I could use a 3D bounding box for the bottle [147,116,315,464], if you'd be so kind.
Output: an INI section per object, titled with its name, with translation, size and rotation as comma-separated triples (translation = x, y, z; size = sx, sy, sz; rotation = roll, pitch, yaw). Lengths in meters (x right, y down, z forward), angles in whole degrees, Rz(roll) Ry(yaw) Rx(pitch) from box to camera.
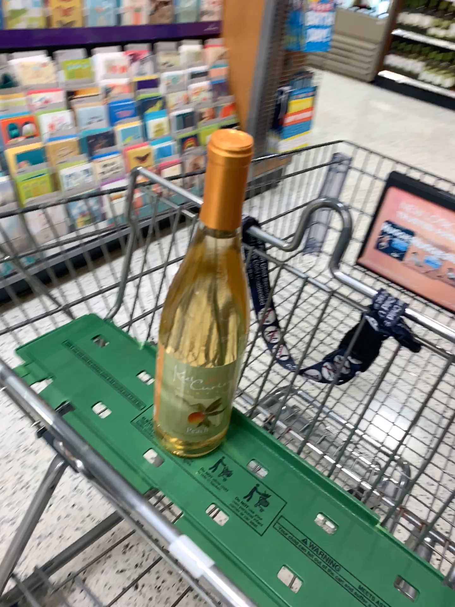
[bottle]
translation = -0.018, 0.012, 0.393
size = 0.083, 0.297, 0.087
rotation = 7, 40, -6
